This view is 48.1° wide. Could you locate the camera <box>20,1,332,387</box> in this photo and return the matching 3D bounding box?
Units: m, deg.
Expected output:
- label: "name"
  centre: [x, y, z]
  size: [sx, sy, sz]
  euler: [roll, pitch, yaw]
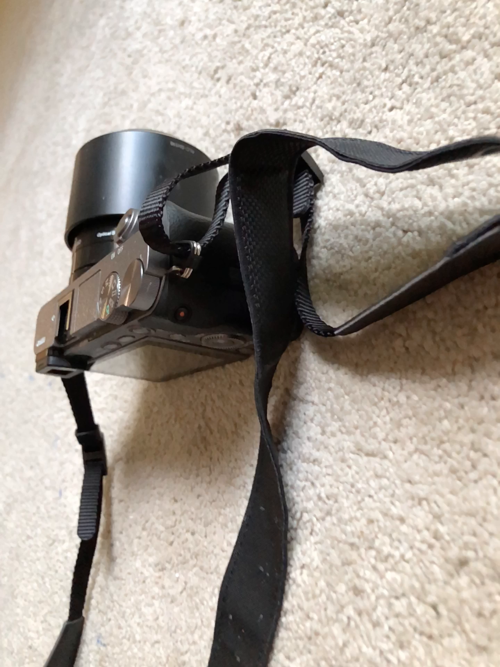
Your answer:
- label: "camera"
  centre: [-0.035, -0.039, 0.231]
  size: [0.121, 0.070, 0.100]
  euler: [-18, 65, 51]
